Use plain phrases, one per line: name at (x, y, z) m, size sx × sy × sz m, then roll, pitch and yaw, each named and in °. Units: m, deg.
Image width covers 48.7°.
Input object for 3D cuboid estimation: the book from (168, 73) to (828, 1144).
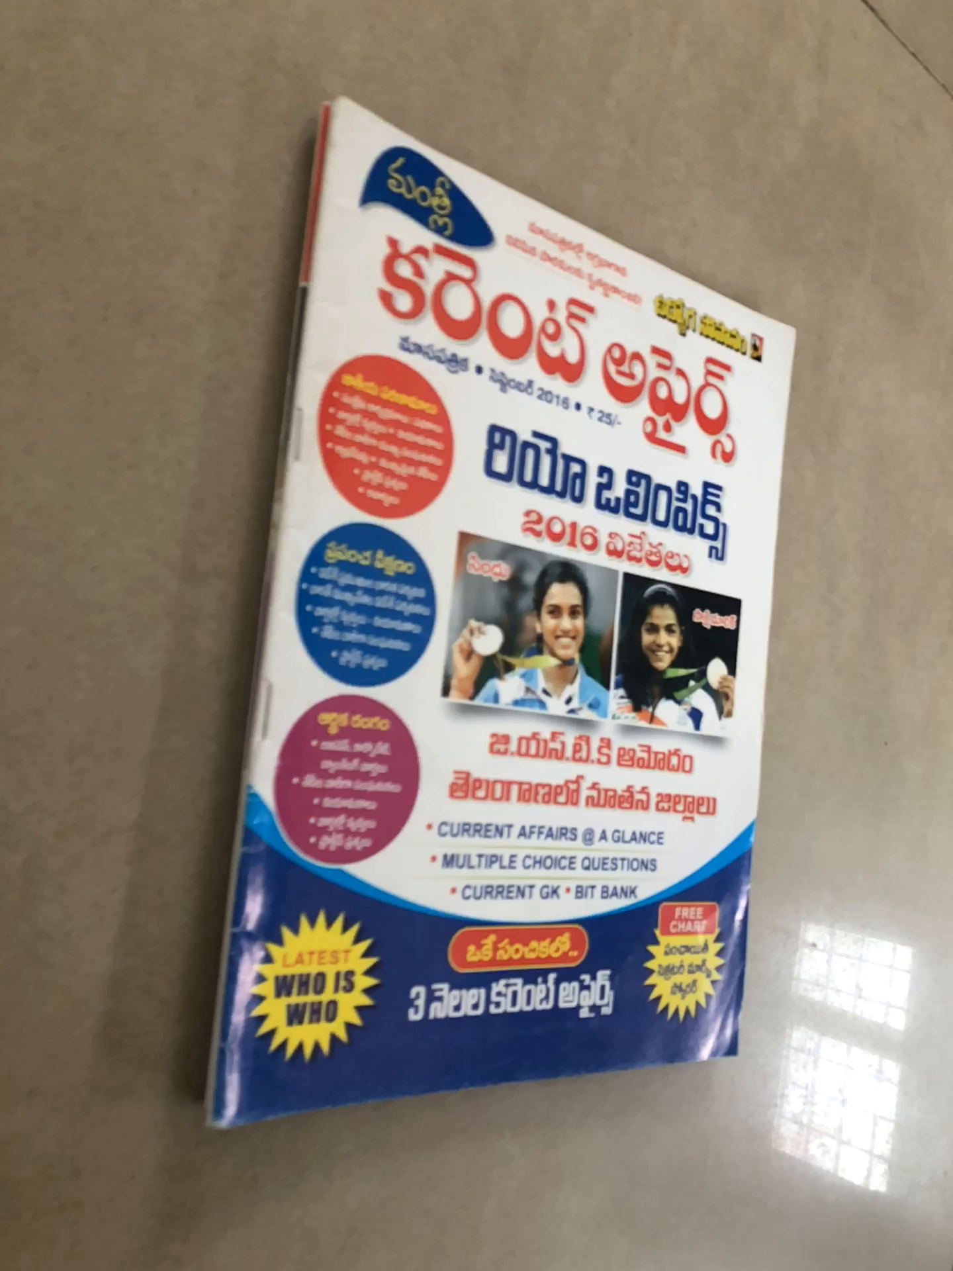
book at (0.028, 0.002, 0.312) m, size 0.201 × 0.010 × 0.260 m, roll 11°, pitch 82°, yaw -35°
